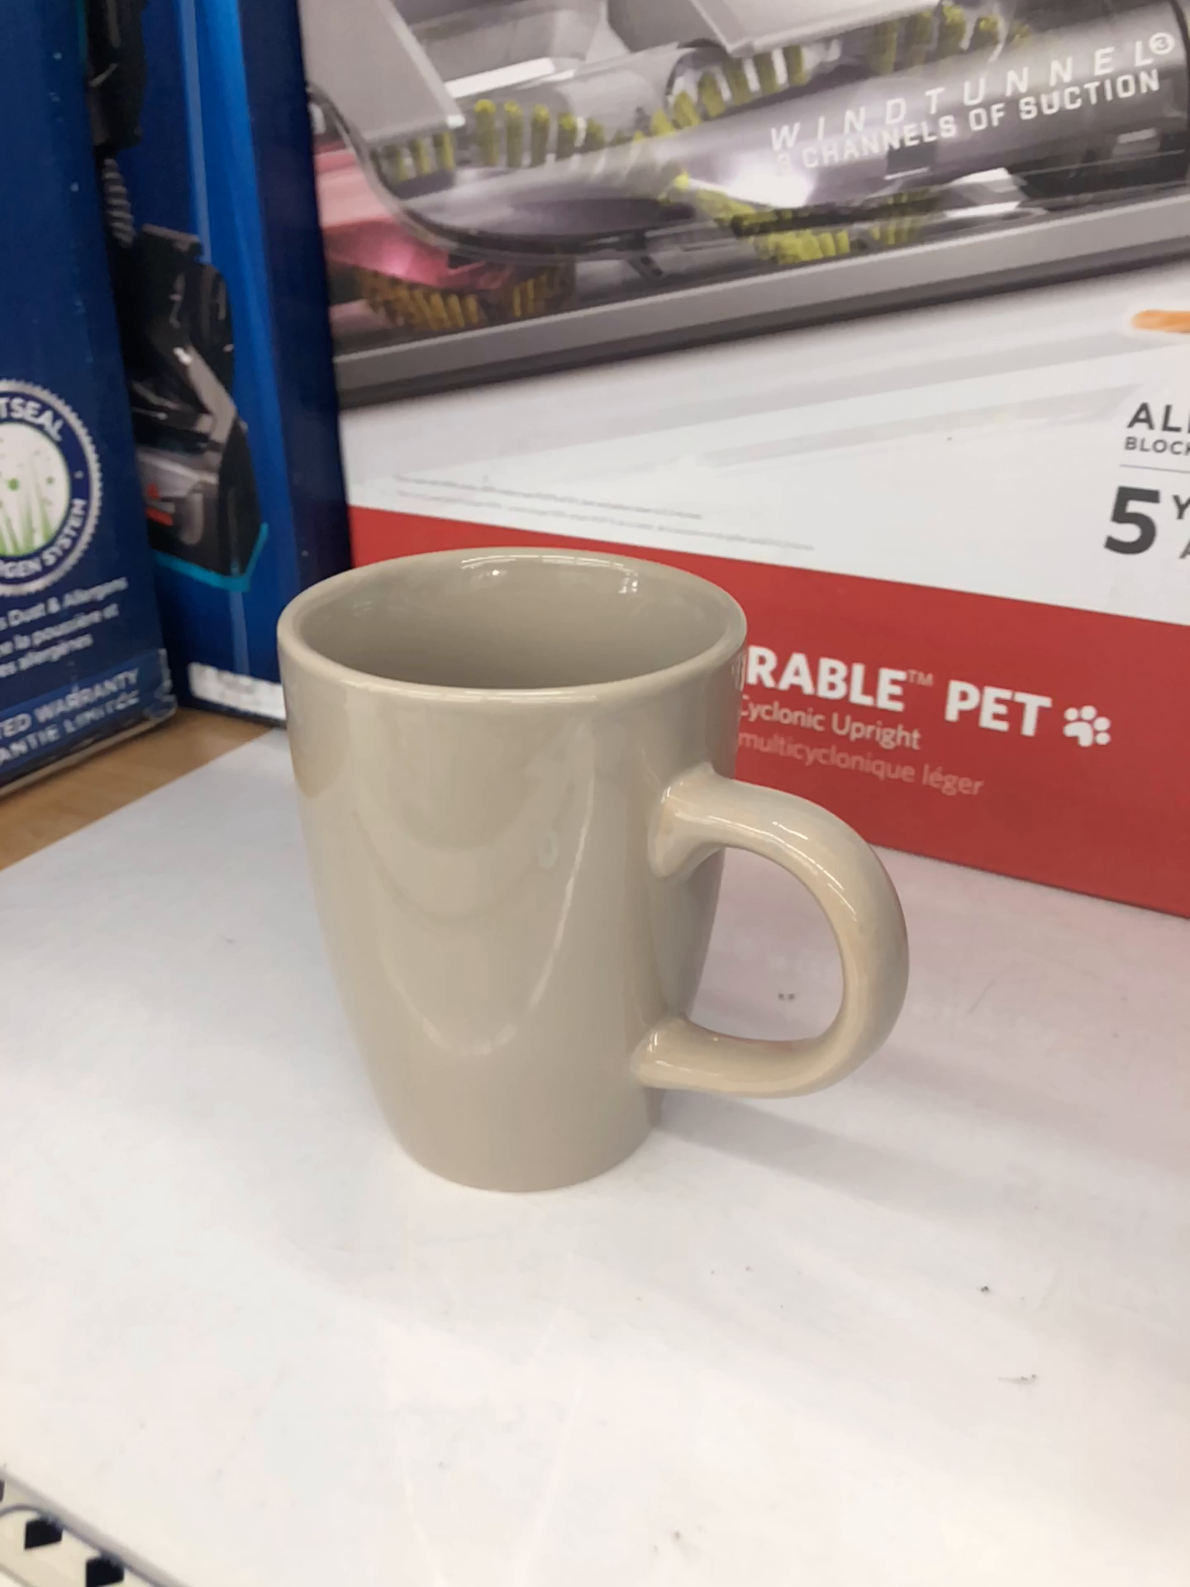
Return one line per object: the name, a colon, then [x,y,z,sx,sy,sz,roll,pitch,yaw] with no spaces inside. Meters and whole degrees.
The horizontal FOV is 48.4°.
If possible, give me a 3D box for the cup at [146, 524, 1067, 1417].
cup: [0.000,0.016,0.239,0.126,0.092,0.088,19,32,34]
